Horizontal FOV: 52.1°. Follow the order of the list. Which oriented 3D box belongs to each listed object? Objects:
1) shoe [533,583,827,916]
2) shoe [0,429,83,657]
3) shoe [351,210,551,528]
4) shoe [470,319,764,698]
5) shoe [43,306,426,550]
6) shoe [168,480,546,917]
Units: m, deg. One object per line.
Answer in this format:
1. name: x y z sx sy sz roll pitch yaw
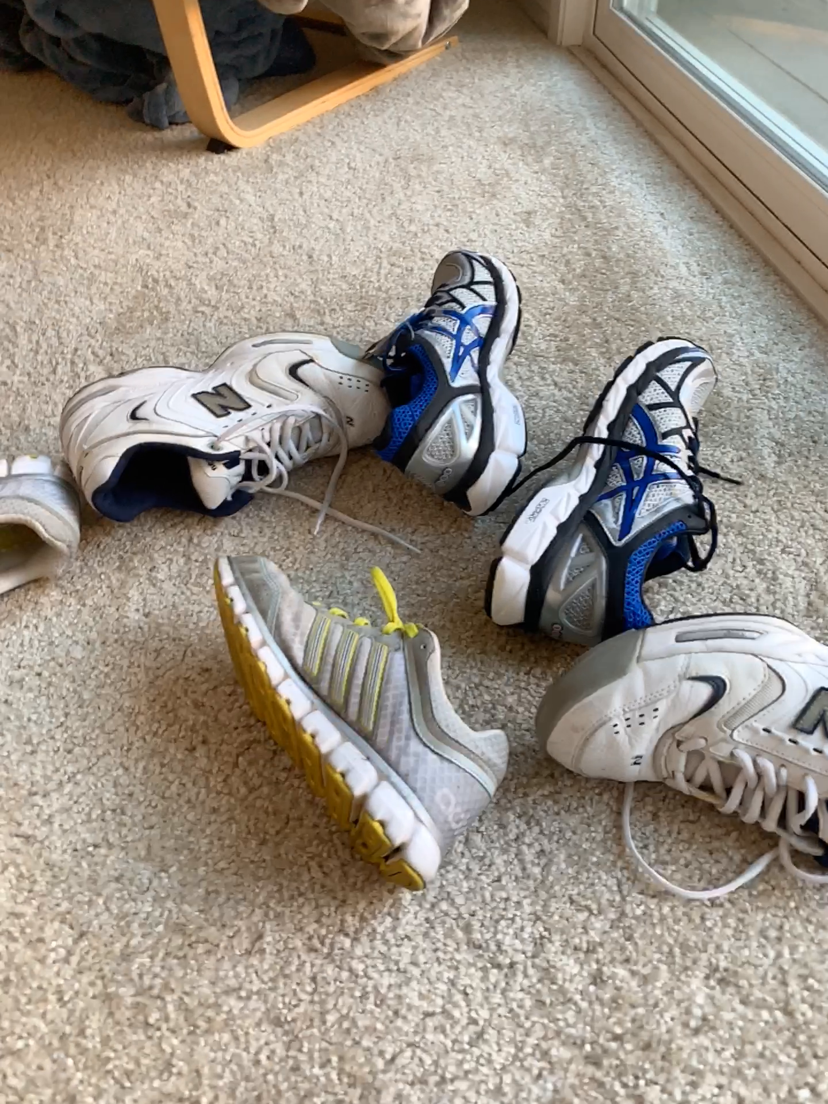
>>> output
1. shoe: 0.210 0.105 0.467 0.270 0.099 0.100 8 47 9
2. shoe: -0.367 -0.010 0.603 0.230 0.080 0.080 -14 40 -12
3. shoe: 0.032 -0.162 0.718 0.120 0.090 0.261 21 45 -19
4. shoe: 0.155 -0.048 0.620 0.120 0.090 0.281 21 50 16
5. shoe: -0.139 -0.105 0.693 0.280 0.099 0.101 -15 51 -13
6. shoe: -0.041 0.070 0.485 0.100 0.090 0.221 -25 50 -25
